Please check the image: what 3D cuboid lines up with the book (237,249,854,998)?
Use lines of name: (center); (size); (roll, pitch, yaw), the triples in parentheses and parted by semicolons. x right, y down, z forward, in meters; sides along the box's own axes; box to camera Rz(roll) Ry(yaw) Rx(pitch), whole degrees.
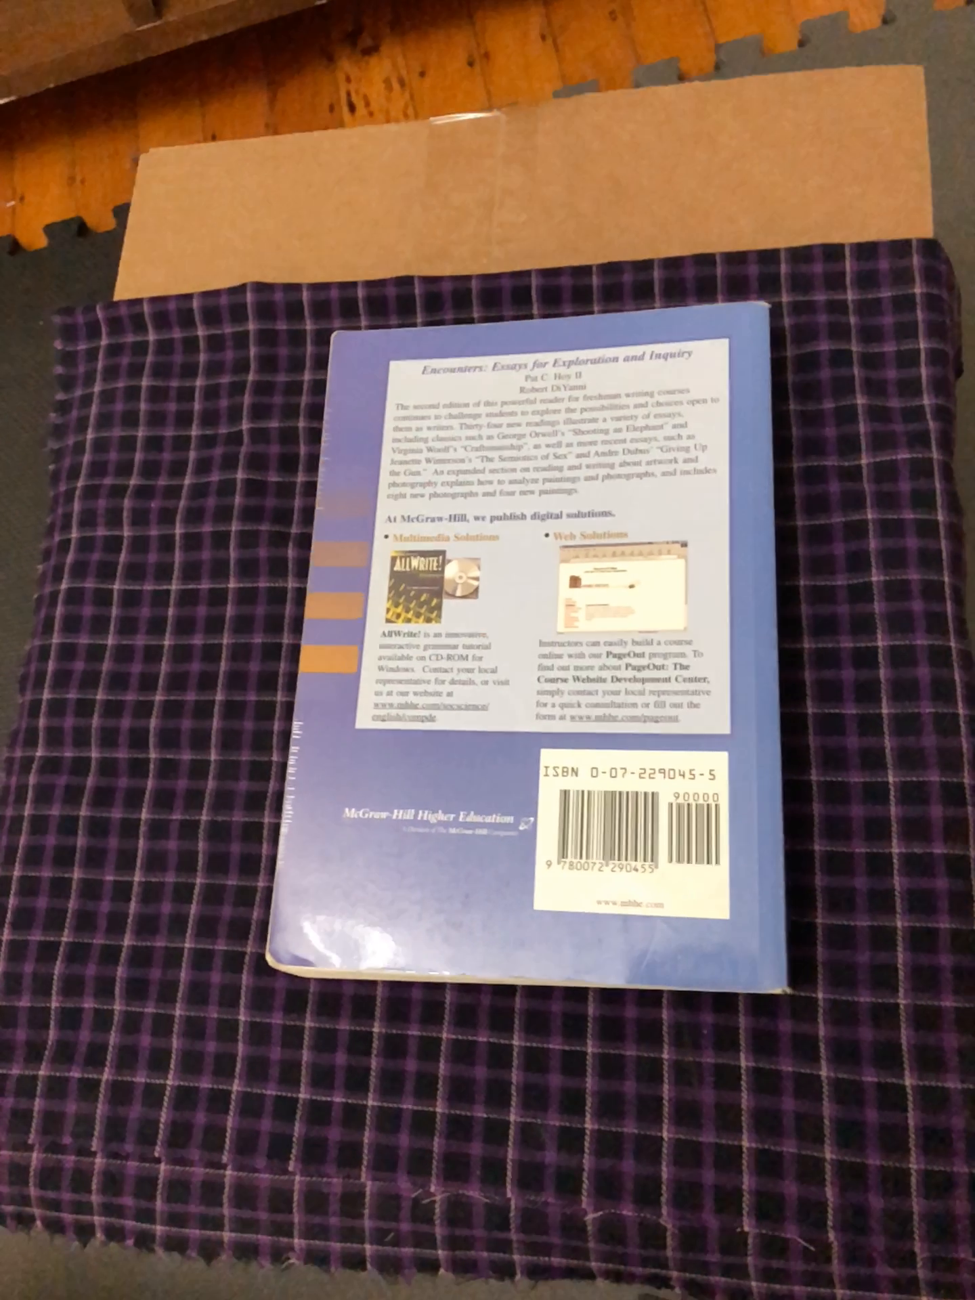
book: (0.019, -0.012, 0.366); (0.180, 0.040, 0.240); (-2, 72, 12)
